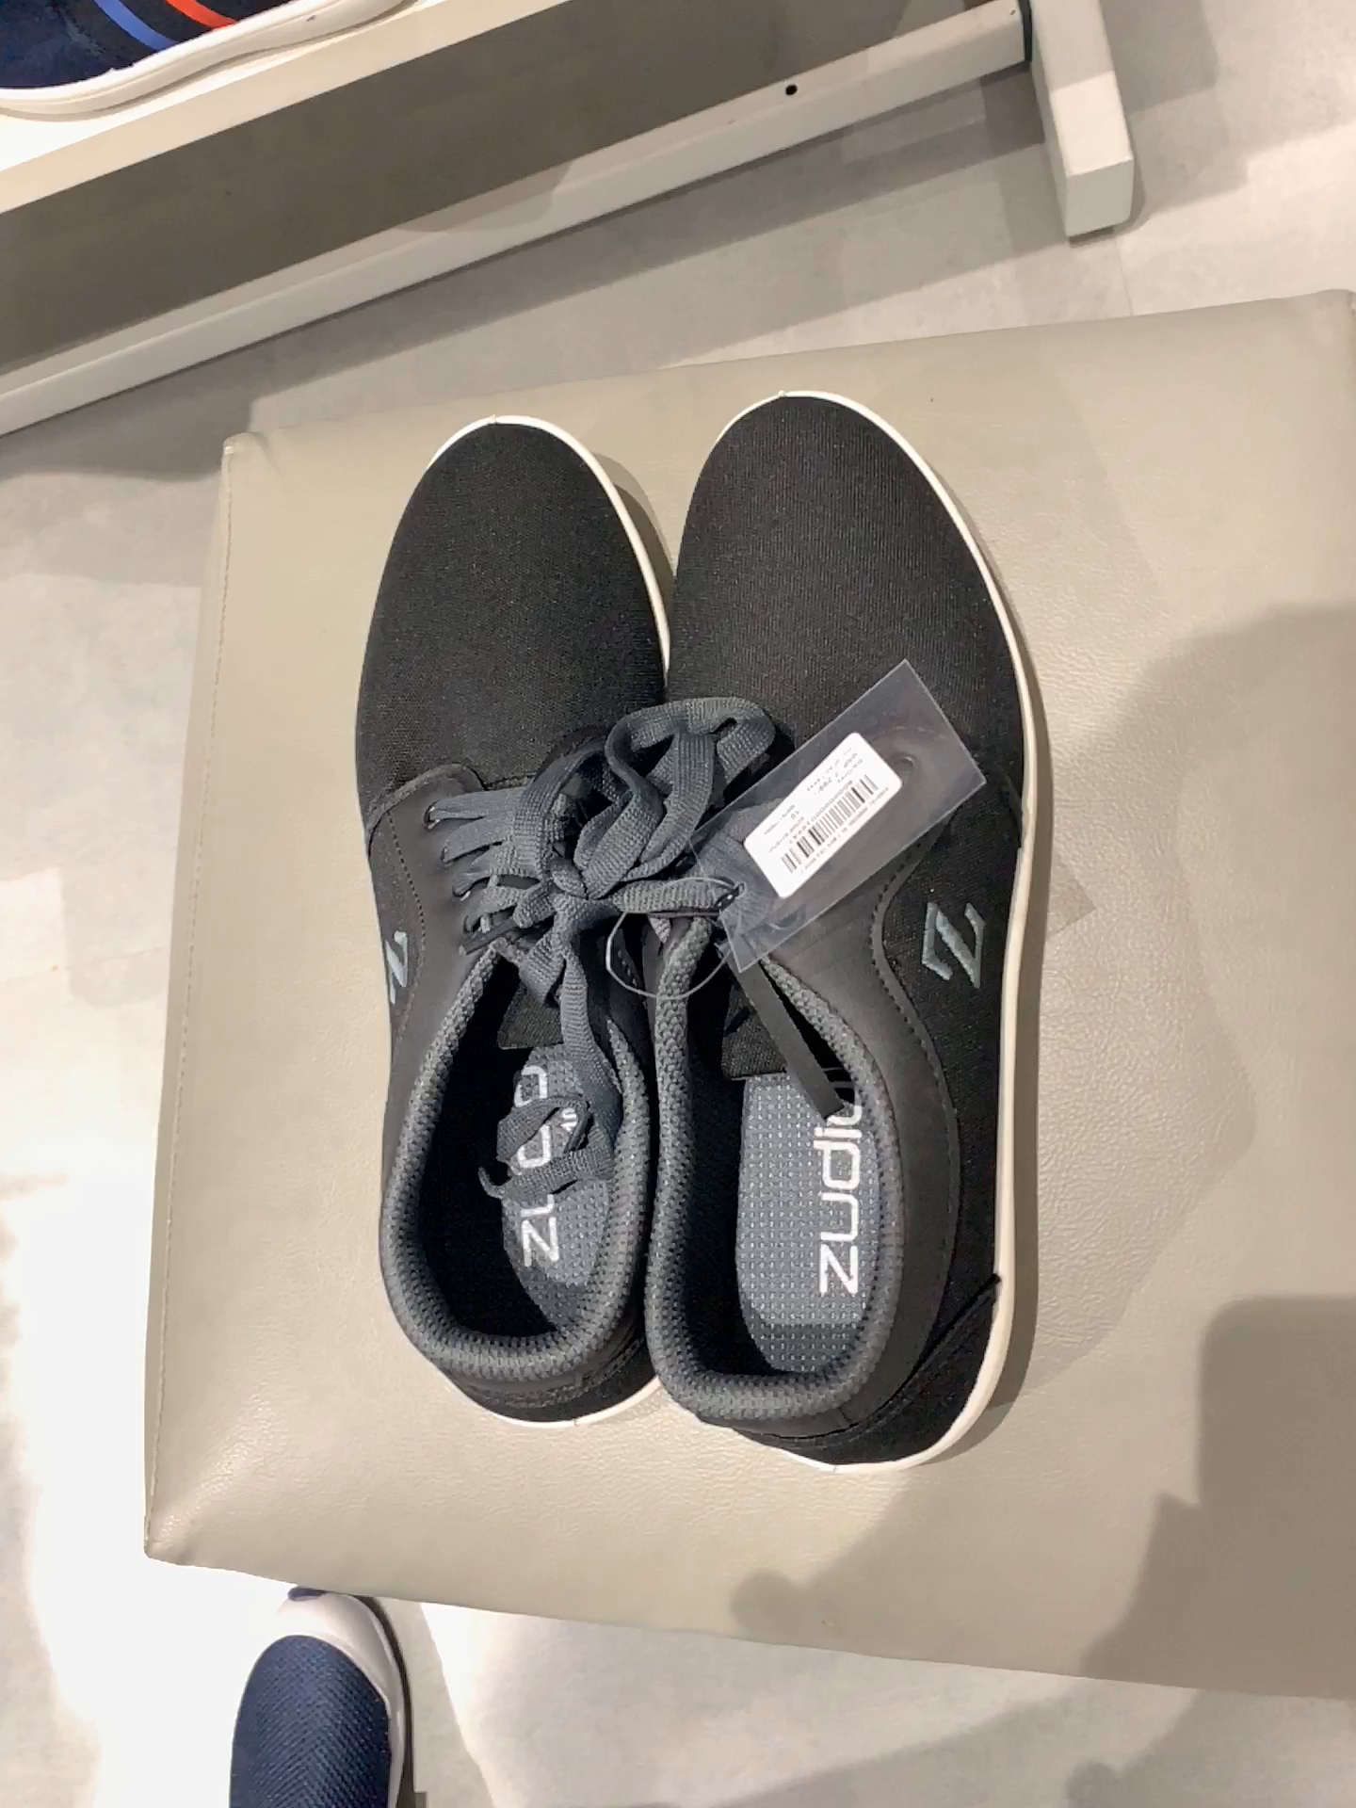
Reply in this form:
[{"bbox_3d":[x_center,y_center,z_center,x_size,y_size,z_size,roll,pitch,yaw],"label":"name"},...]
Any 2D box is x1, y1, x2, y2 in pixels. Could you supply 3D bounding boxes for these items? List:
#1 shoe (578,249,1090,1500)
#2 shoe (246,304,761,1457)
[{"bbox_3d":[0.042,-0.005,0.369,0.100,0.100,0.280,-5,80,20],"label":"shoe"},{"bbox_3d":[-0.045,-0.003,0.379,0.100,0.100,0.270,-6,80,14],"label":"shoe"}]
